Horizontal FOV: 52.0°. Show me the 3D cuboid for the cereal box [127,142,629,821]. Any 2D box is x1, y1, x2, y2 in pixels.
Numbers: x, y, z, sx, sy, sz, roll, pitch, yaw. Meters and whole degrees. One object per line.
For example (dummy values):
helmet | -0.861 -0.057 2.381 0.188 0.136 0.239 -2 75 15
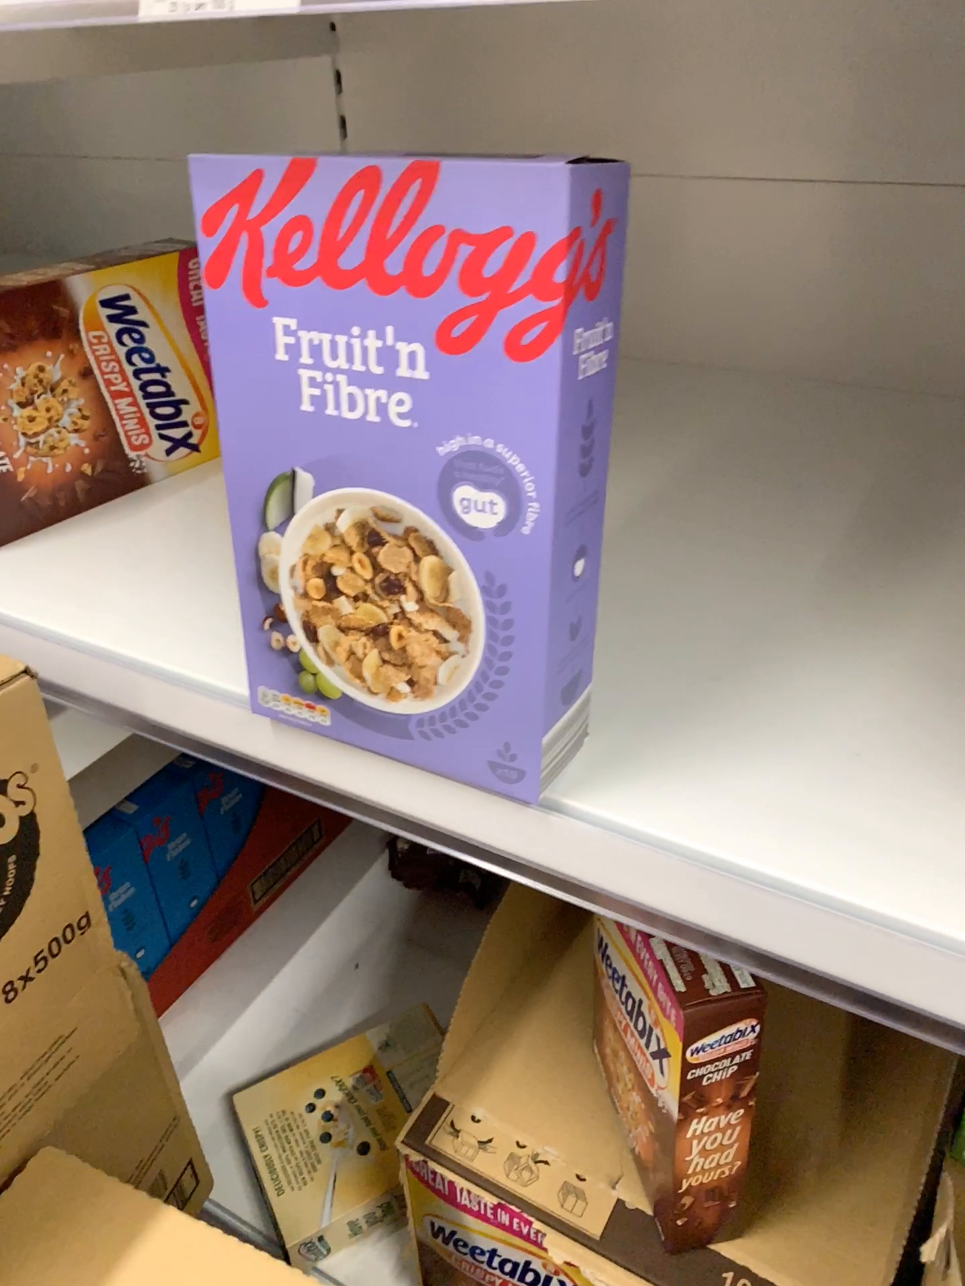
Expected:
cereal box | -0.049 -0.085 0.500 0.210 0.297 0.081 15 31 26
